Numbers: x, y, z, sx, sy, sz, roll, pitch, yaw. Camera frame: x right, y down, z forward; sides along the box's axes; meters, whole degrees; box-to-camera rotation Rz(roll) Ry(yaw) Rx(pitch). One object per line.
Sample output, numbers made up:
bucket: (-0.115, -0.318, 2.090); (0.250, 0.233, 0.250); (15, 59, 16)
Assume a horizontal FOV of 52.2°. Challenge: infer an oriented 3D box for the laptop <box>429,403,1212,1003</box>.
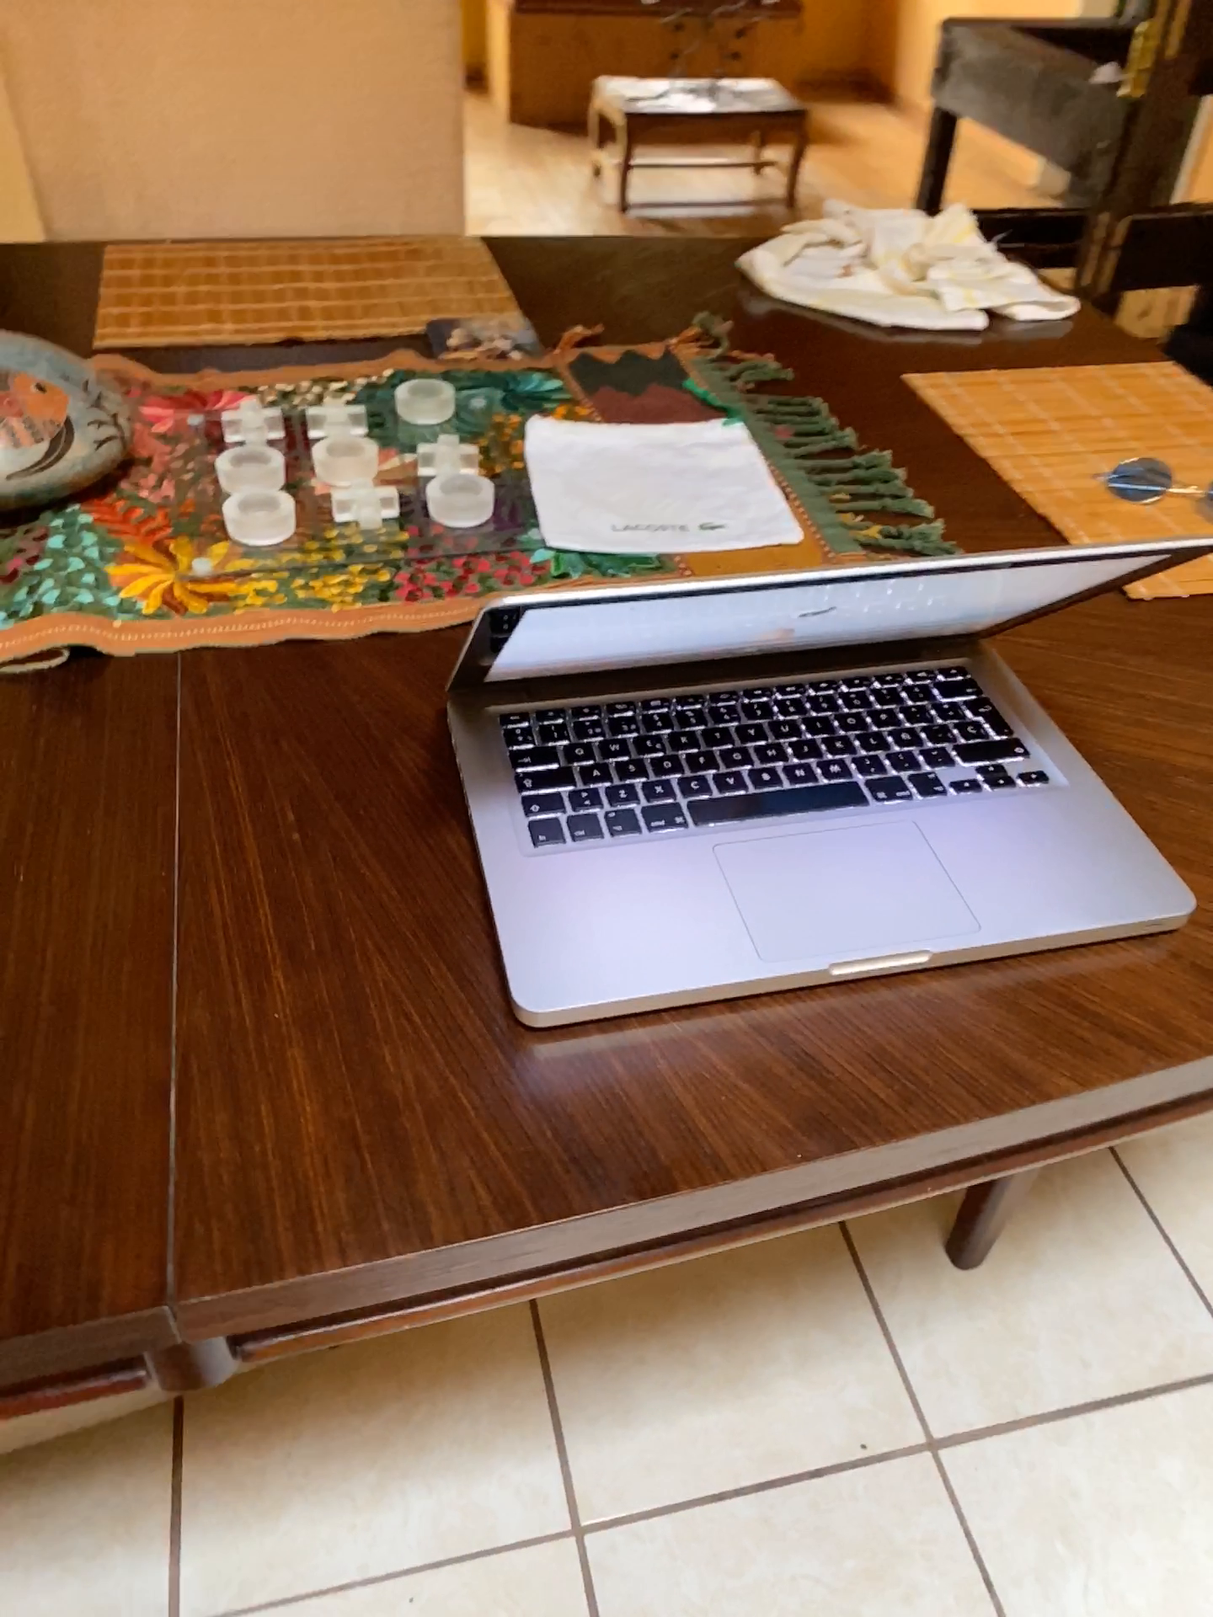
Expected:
laptop: (0.094, -0.066, 0.591); (0.322, 0.152, 0.214); (-8, 42, -13)
